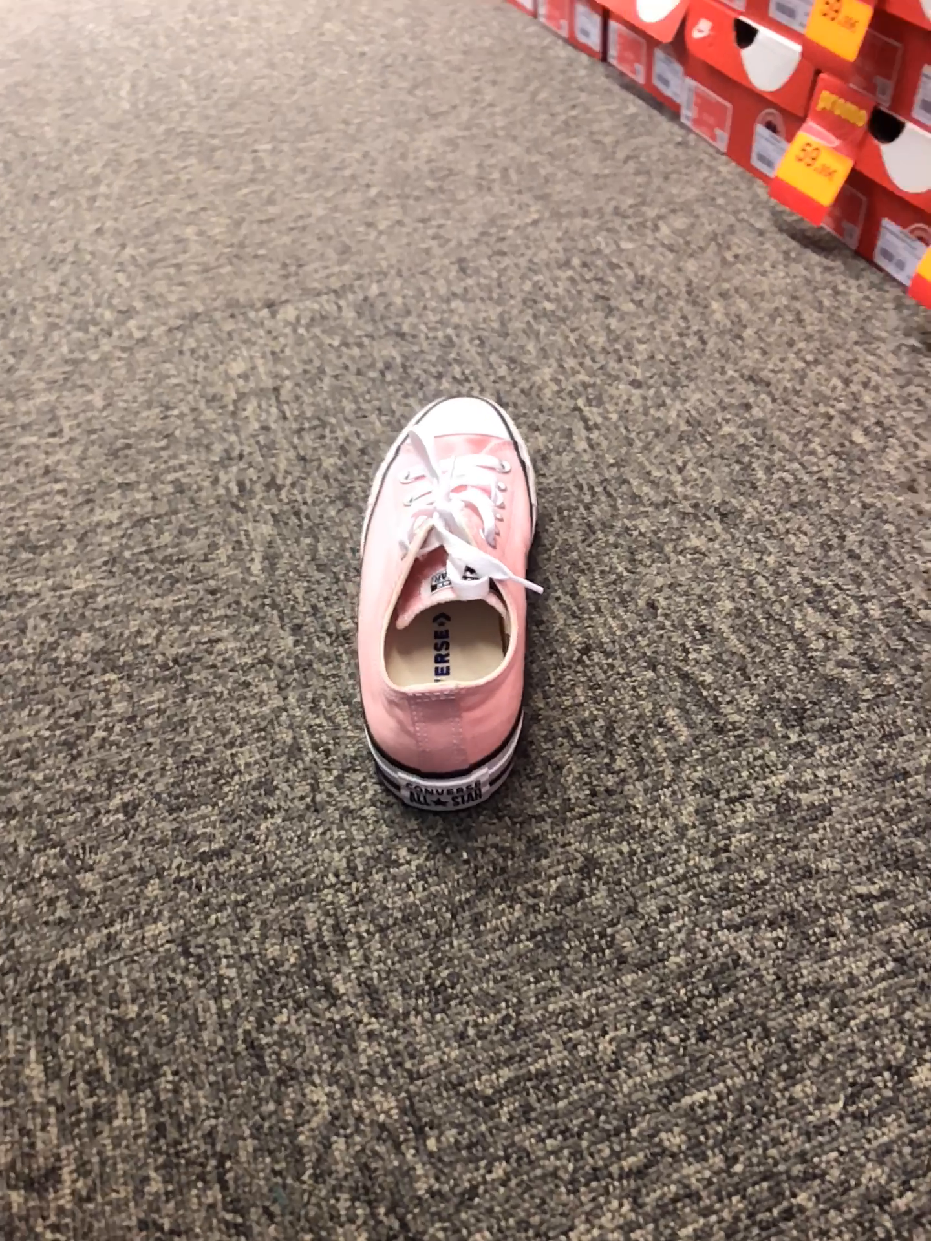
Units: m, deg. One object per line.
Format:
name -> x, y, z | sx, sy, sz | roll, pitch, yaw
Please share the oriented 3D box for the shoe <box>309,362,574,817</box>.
shoe -> -0.009, -0.035, 0.512 | 0.100, 0.060, 0.282 | -3, 40, 2
